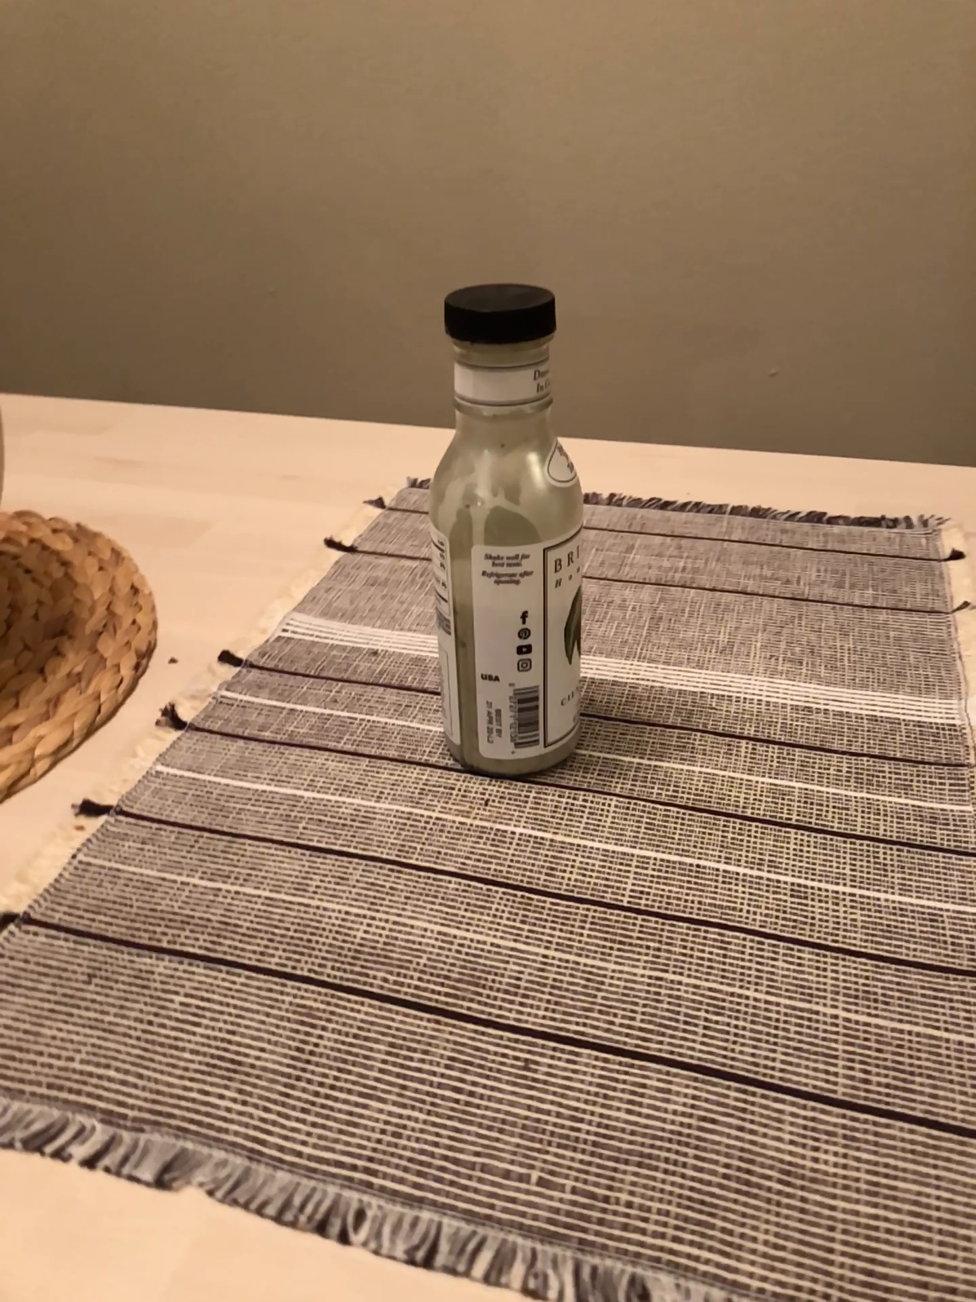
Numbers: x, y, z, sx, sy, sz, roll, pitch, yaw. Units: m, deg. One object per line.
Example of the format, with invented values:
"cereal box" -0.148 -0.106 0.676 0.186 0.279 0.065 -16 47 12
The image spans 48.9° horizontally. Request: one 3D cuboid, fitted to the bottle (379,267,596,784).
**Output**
"bottle" 0.004 -0.045 0.422 0.069 0.186 0.075 -2 30 1
